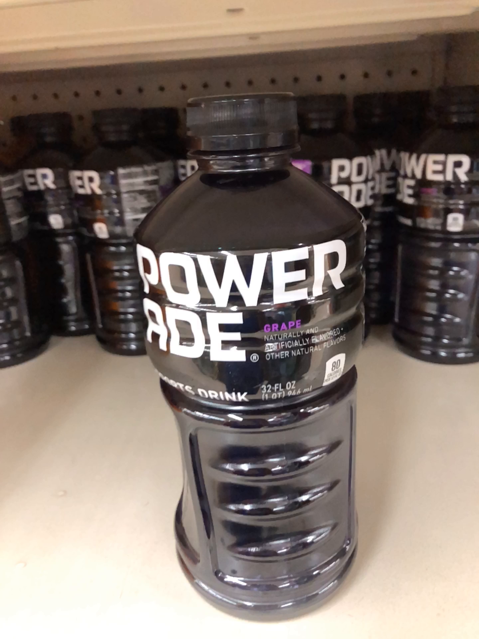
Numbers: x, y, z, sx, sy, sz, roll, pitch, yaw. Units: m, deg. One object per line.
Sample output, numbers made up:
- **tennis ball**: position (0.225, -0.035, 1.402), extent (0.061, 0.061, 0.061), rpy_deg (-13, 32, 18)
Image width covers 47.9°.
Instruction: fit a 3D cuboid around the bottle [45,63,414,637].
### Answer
- **bottle**: position (0.005, 0.014, 0.224), extent (0.098, 0.209, 0.090), rpy_deg (-3, 23, 1)
